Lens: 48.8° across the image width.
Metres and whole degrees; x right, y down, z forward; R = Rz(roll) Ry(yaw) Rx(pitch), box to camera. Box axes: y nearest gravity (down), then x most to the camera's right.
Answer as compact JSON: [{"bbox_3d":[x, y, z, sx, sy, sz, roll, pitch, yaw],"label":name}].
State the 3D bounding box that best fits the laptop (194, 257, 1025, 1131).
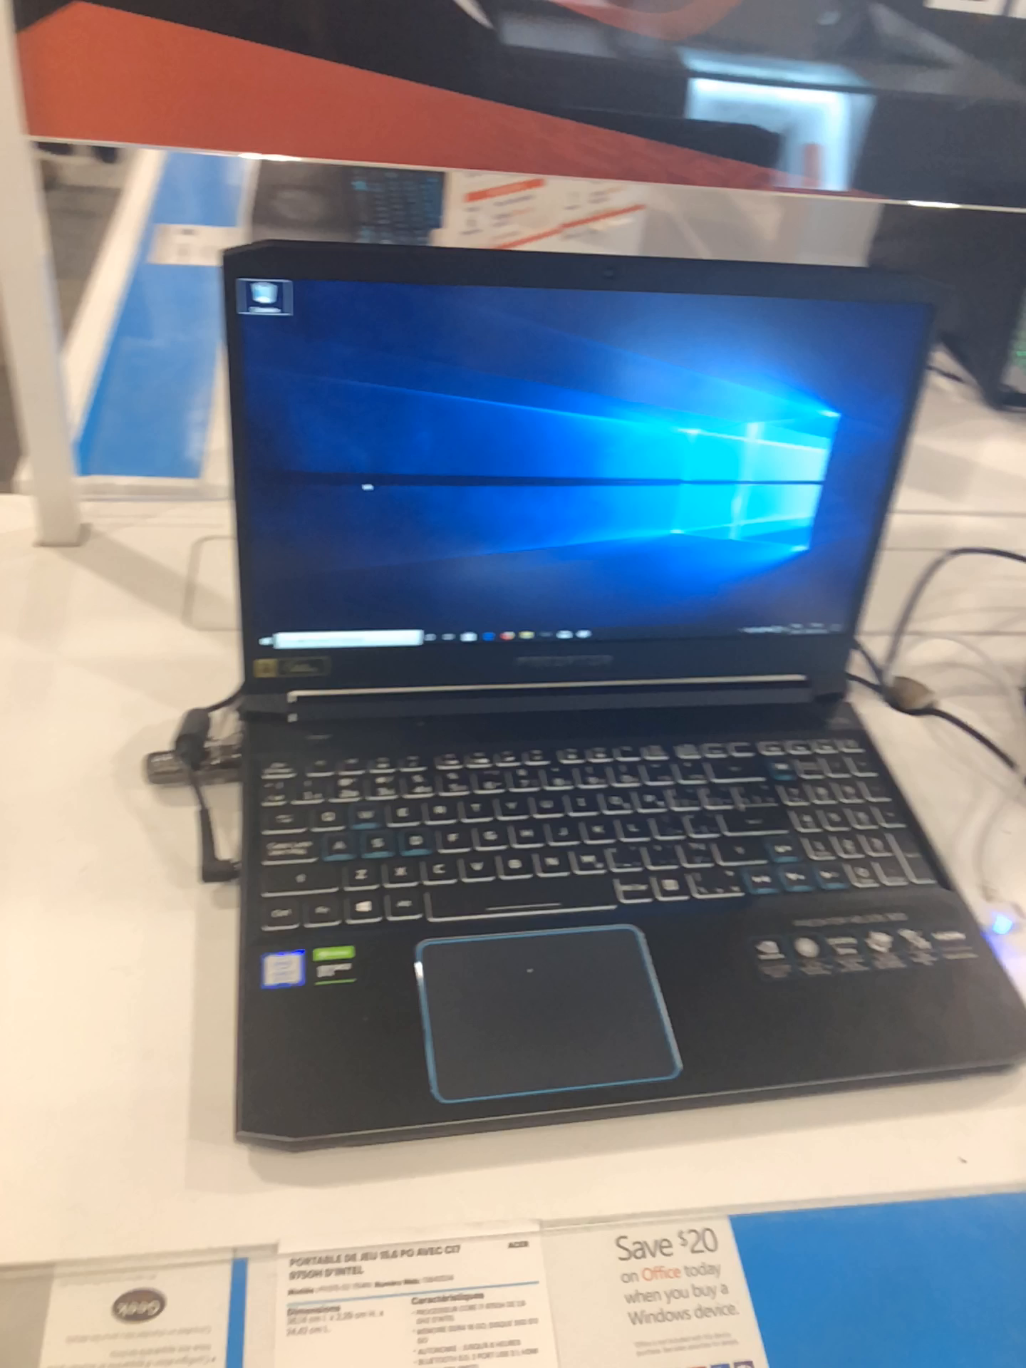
[{"bbox_3d":[0.056,-0.012,0.497,0.348,0.230,0.274,-2,42,-11],"label":"laptop"}]
